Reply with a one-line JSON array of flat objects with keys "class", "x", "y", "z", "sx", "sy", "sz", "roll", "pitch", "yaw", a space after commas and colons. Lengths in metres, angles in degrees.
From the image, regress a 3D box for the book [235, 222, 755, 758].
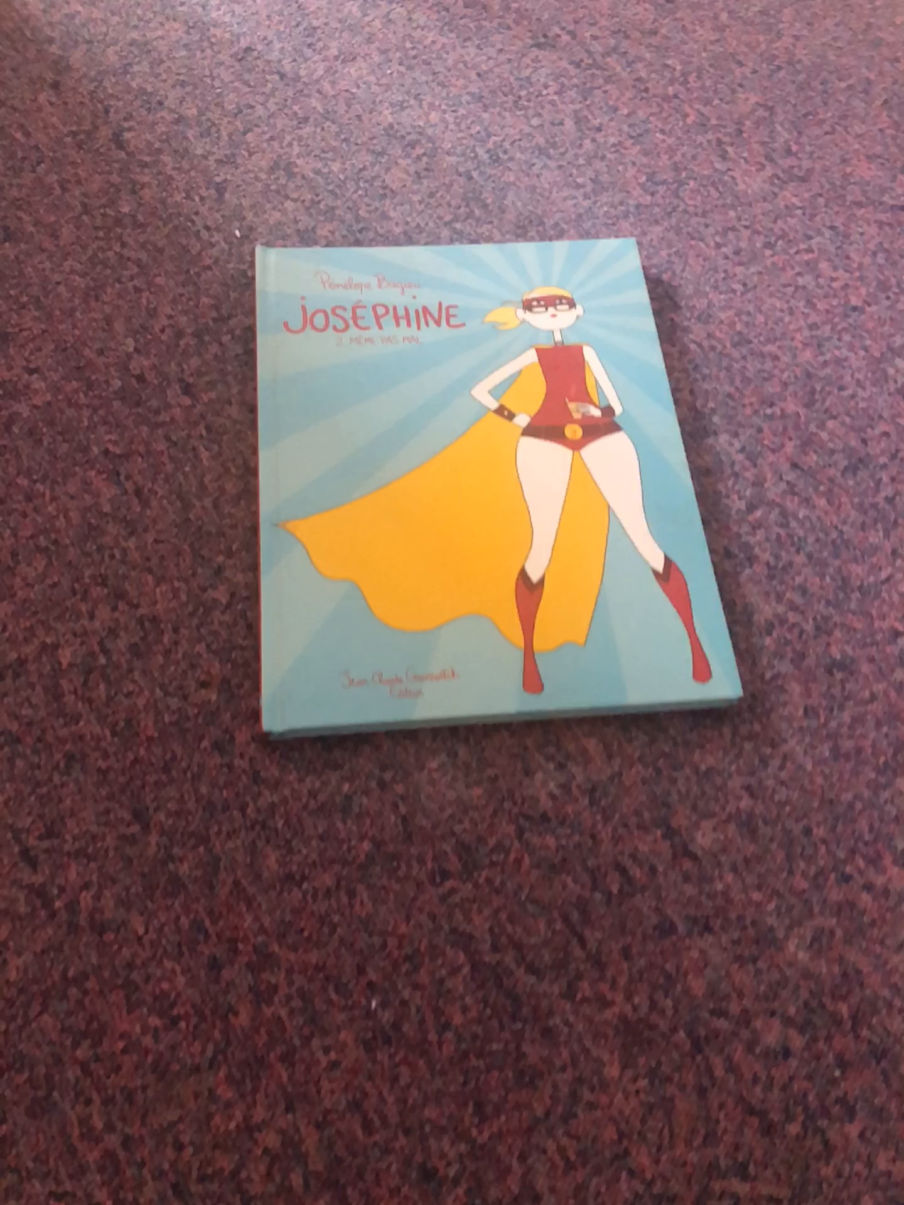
[{"class": "book", "x": 0.007, "y": -0.078, "z": 0.519, "sx": 0.234, "sy": 0.020, "sz": 0.307, "roll": -3, "pitch": 63, "yaw": -6}]
